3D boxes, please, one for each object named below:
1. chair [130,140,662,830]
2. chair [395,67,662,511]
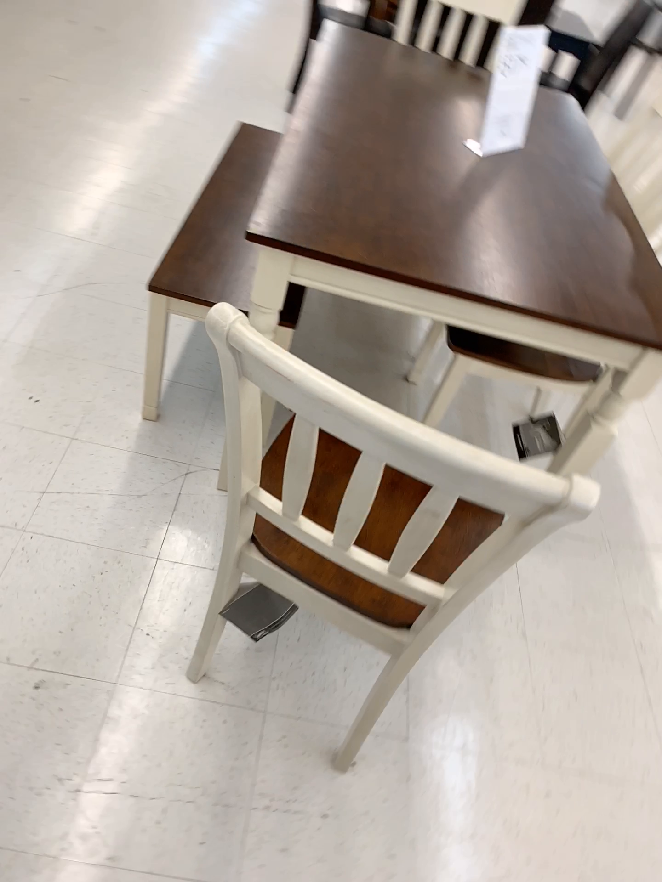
[{"bbox_3d":[0.072,0.108,1.158,0.524,0.903,0.597,26,44,7],"label":"chair"},{"bbox_3d":[0.608,-0.344,1.796,0.604,0.932,0.466,14,44,-6],"label":"chair"}]
